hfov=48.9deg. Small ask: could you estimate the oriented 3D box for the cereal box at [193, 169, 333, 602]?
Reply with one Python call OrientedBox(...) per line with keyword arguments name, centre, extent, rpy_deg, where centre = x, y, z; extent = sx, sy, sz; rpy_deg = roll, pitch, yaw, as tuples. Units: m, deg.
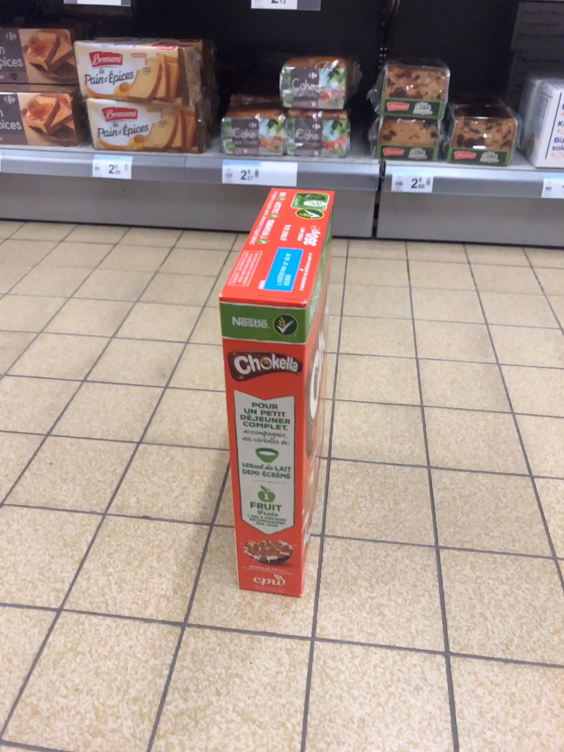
OrientedBox(name="cereal box", centre=(-0.005, 0.005, 0.499), extent=(0.060, 0.278, 0.201), rpy_deg=(5, 34, 7))
